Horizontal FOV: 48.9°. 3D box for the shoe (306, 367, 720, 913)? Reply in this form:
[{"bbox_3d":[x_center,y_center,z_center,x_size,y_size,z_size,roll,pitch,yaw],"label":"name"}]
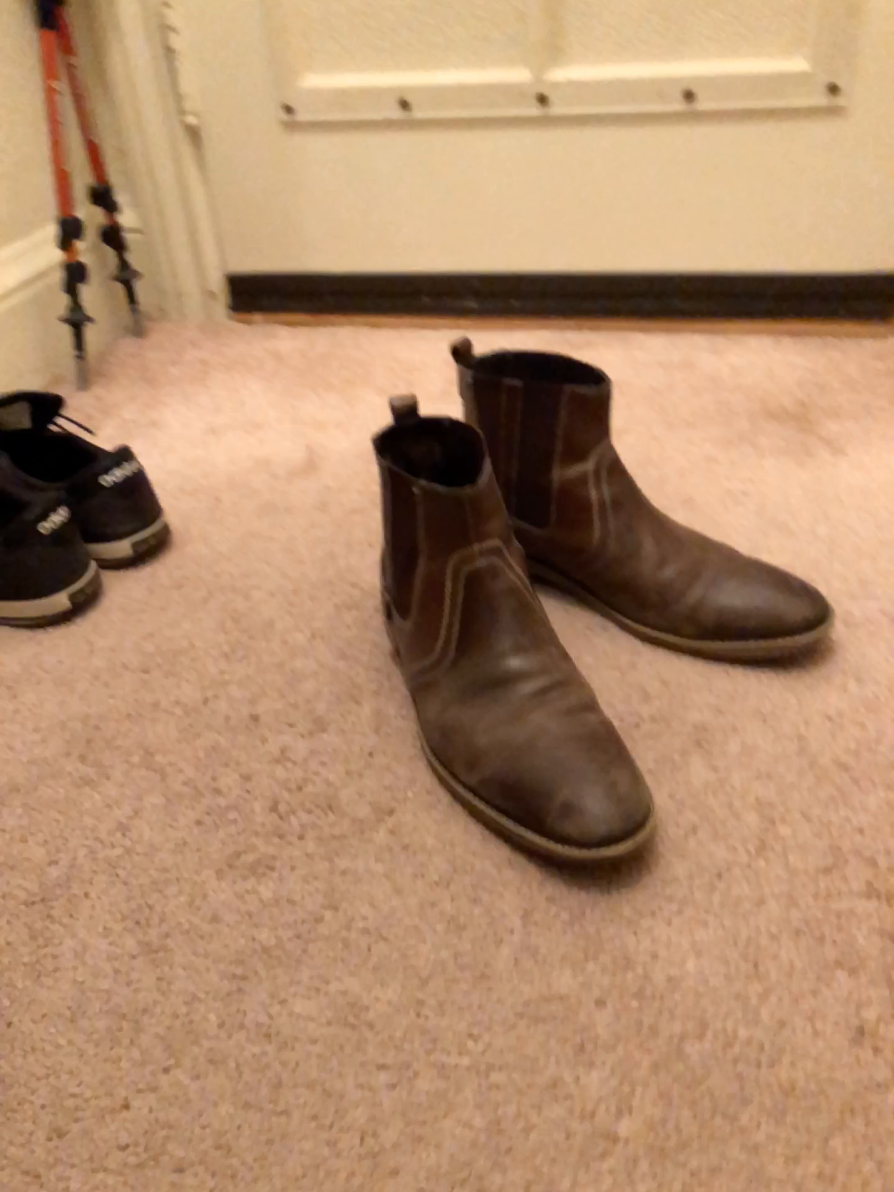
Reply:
[{"bbox_3d":[0.020,0.002,0.583,0.119,0.158,0.299,-15,37,-14],"label":"shoe"}]

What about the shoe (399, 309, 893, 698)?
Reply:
[{"bbox_3d":[0.124,-0.079,0.685,0.298,0.158,0.119,23,44,33],"label":"shoe"}]
